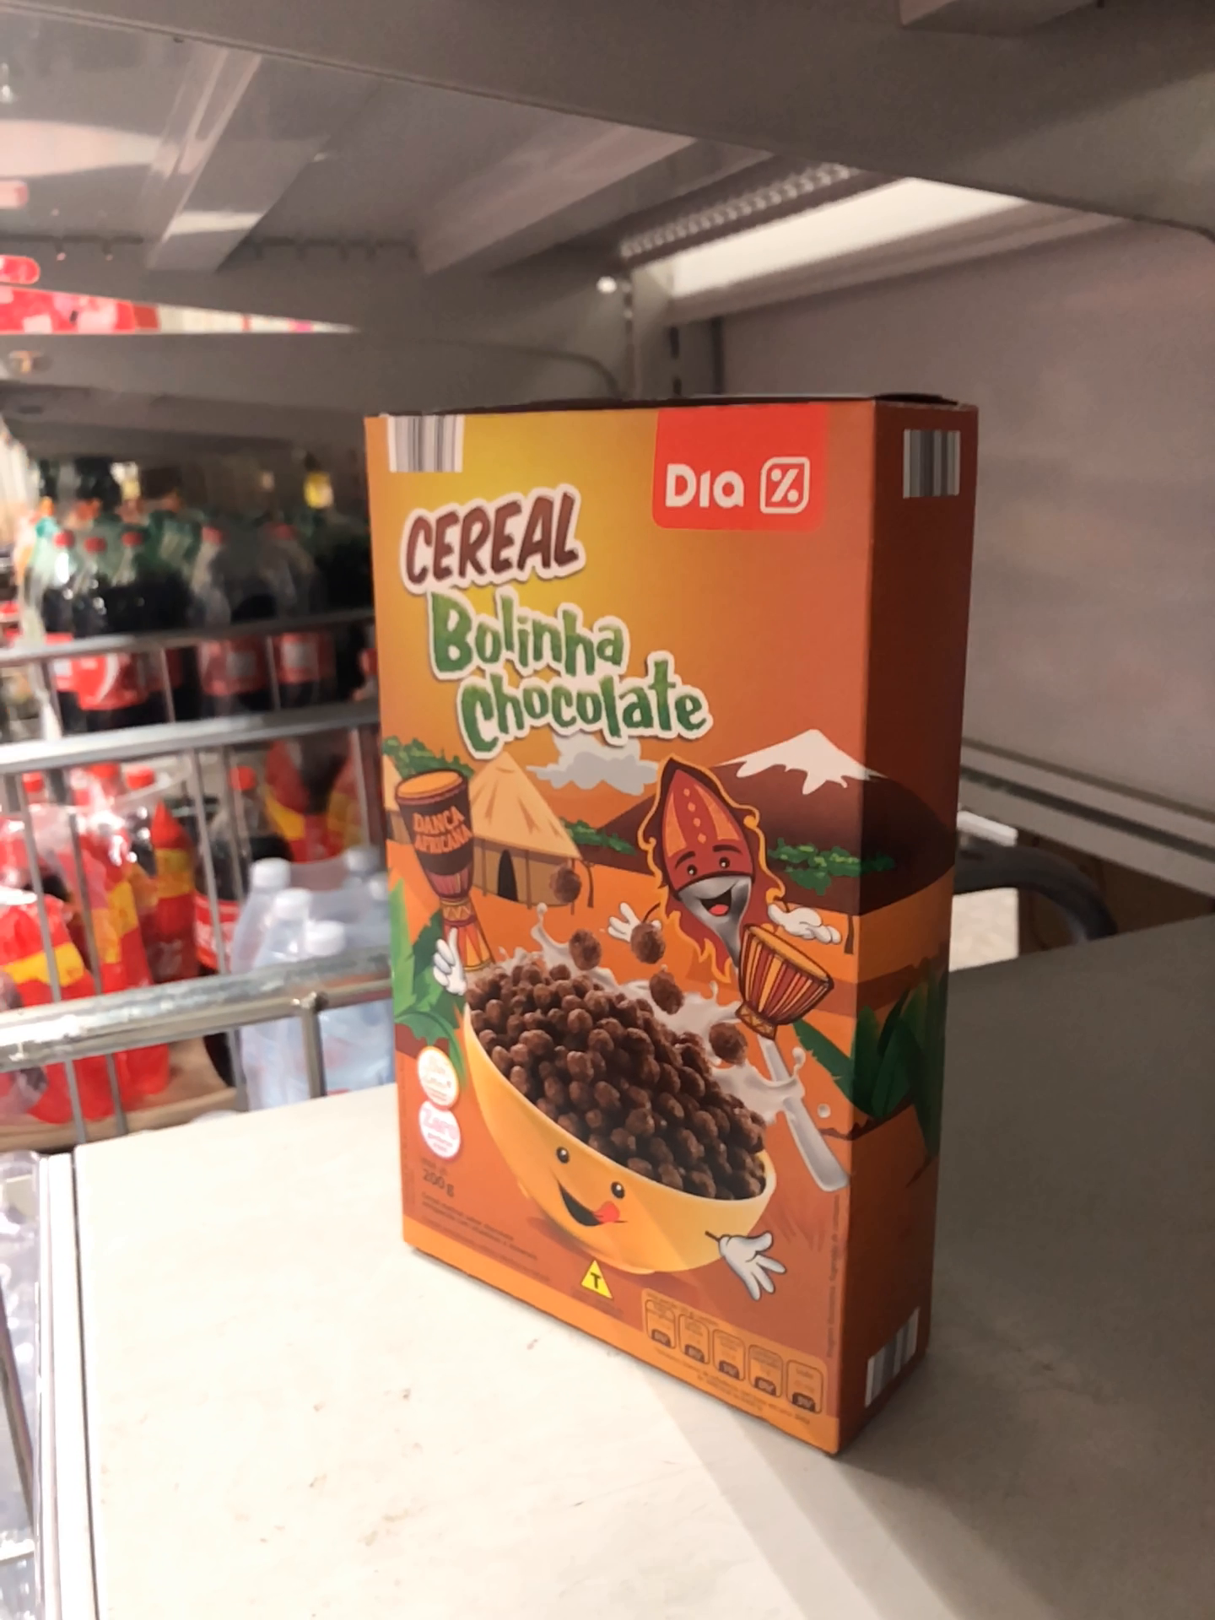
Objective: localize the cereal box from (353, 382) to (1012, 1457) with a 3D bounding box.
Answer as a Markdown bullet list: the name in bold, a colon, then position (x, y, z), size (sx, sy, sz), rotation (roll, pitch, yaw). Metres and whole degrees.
- **cereal box**: position (0.010, 0.017, 0.386), size (0.170, 0.259, 0.060), rotation (11, 16, 37)
